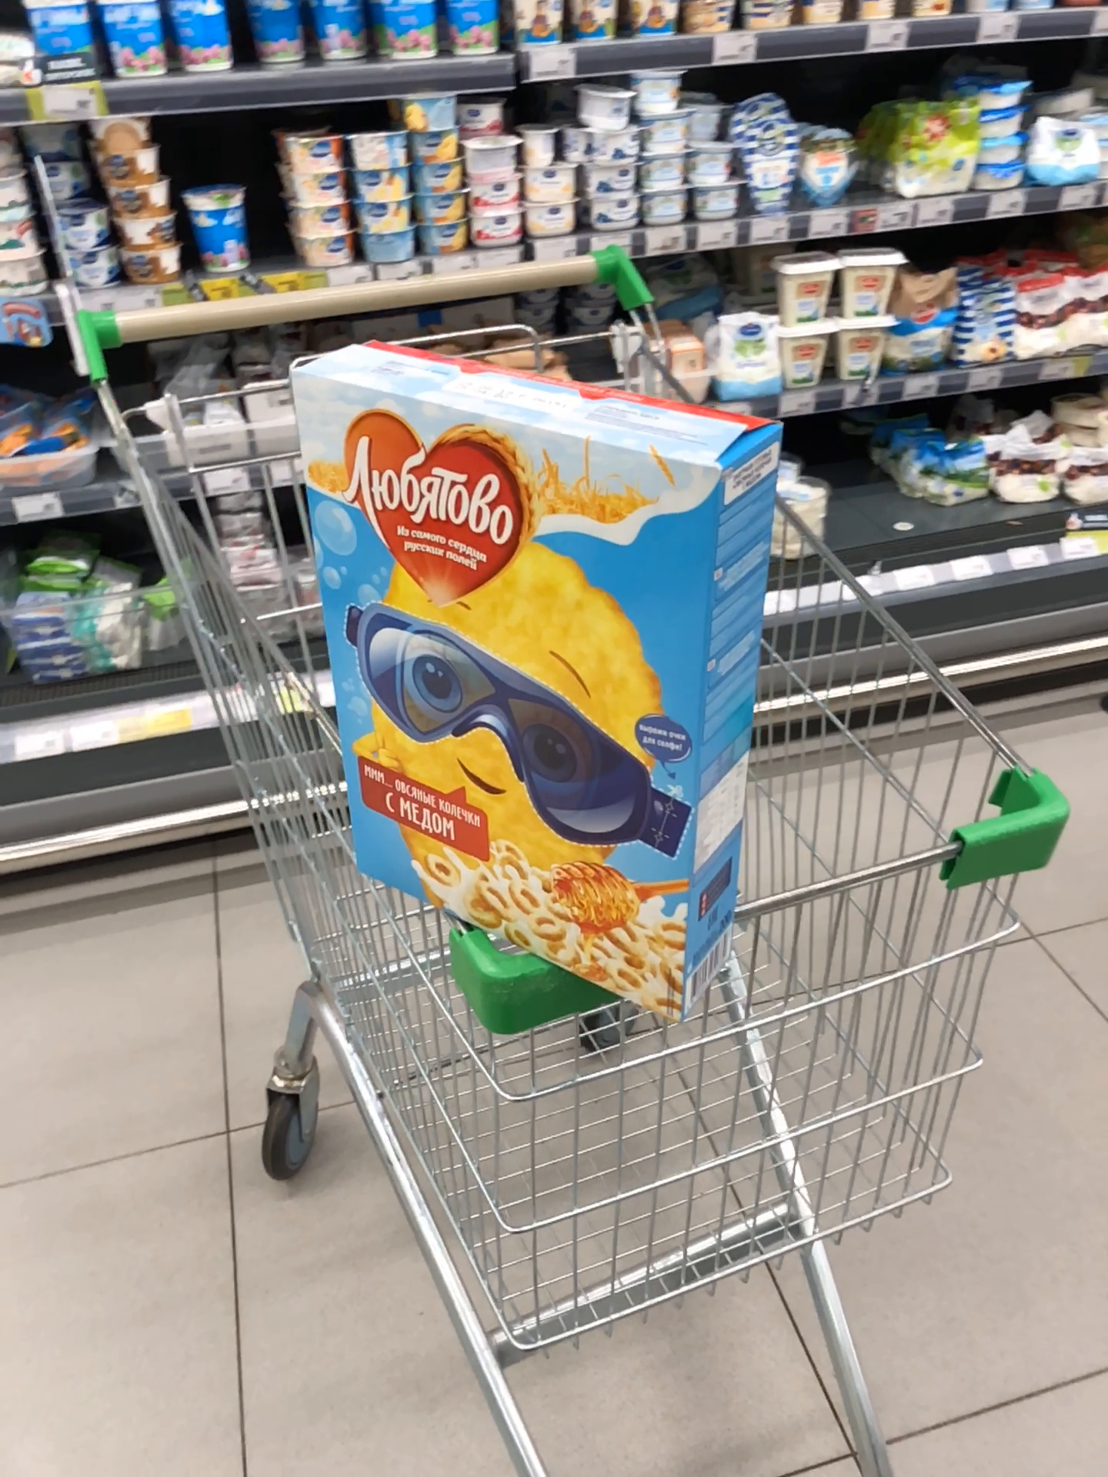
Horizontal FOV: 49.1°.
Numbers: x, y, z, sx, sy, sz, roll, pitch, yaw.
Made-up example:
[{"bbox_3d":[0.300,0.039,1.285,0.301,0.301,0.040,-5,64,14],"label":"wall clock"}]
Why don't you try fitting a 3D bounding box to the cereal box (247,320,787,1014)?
[{"bbox_3d":[-0.017,-0.030,0.515,0.200,0.248,0.060,19,39,28],"label":"cereal box"}]
